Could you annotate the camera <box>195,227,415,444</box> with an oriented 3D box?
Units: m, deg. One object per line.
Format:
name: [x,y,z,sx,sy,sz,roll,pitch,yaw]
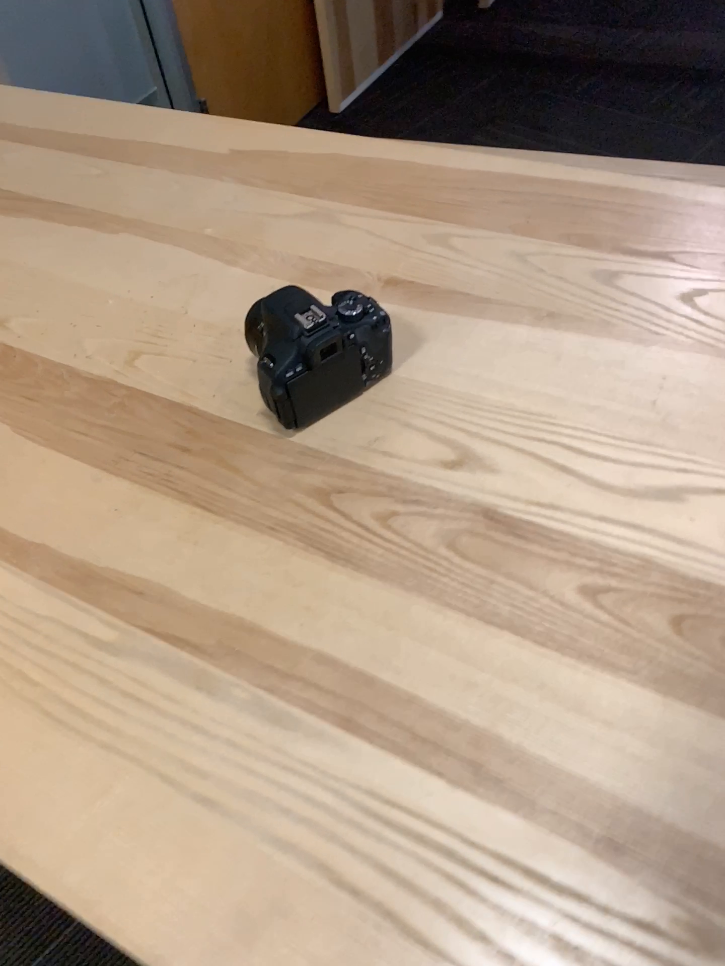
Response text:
camera: [-0.048,-0.138,0.676,0.145,0.100,0.121,-33,53,-20]
